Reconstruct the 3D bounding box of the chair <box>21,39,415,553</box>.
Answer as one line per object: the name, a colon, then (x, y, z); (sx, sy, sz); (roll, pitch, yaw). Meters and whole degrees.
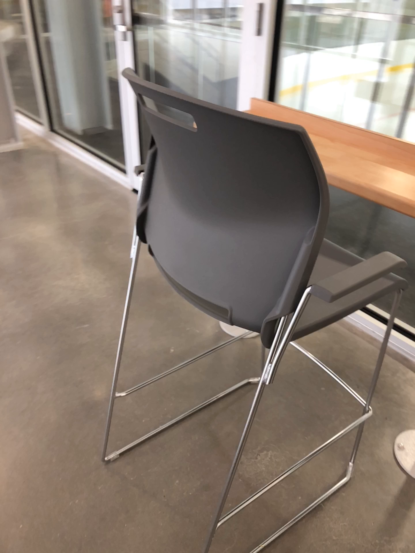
chair: (0.106, 0.101, 1.056); (0.661, 1.072, 0.603); (-22, 40, -31)
